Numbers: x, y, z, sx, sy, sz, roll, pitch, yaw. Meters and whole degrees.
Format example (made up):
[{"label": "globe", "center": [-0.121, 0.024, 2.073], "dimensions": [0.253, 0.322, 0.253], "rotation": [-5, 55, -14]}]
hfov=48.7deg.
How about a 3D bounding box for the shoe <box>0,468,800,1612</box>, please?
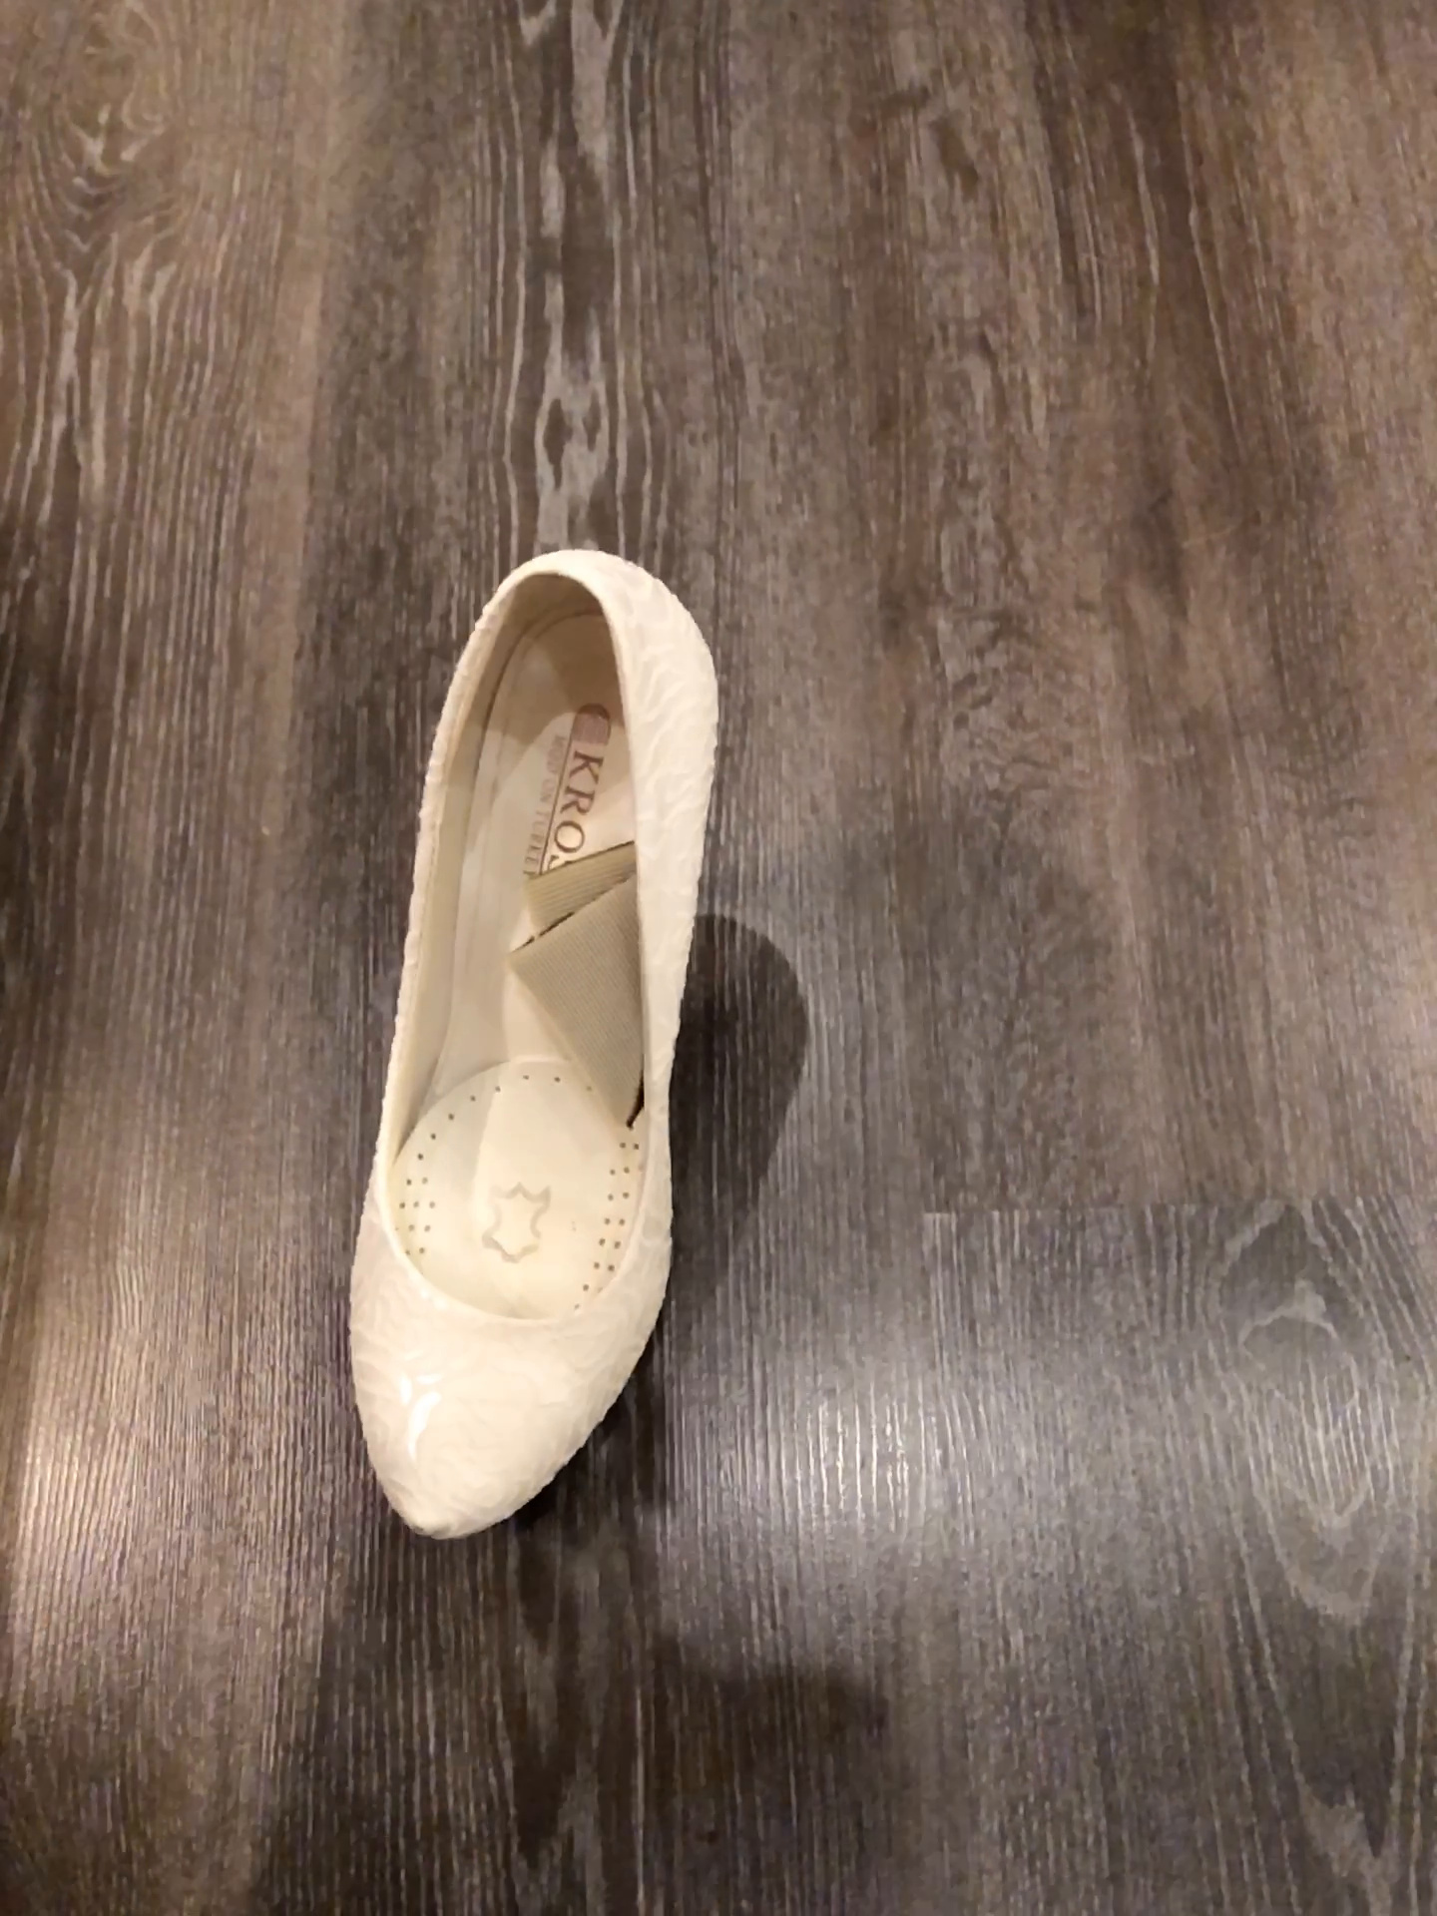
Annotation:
[{"label": "shoe", "center": [-0.049, 0.027, 0.366], "dimensions": [0.090, 0.150, 0.210], "rotation": [11, 70, 9]}]
